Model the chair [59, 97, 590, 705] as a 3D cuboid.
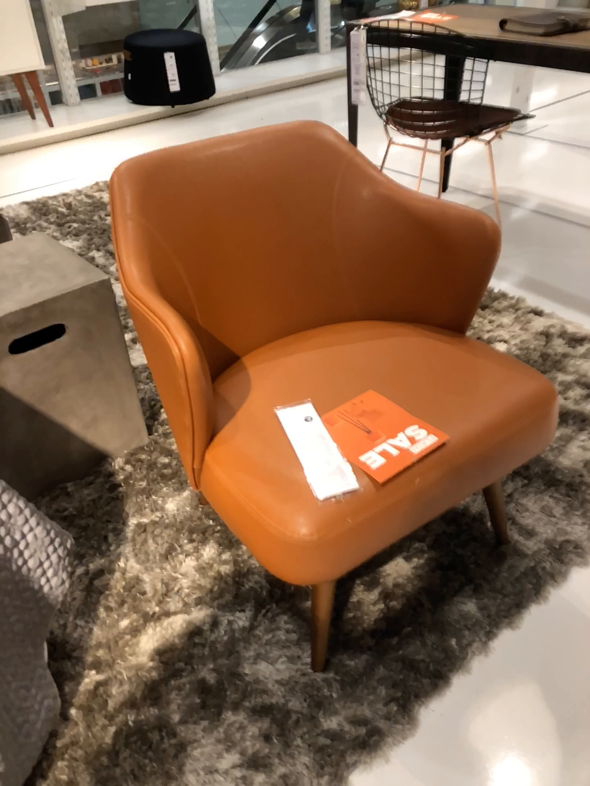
[{"bbox_3d":[0.060,-0.056,1.165,0.592,0.705,0.653,-24,41,-26],"label":"chair"}]
